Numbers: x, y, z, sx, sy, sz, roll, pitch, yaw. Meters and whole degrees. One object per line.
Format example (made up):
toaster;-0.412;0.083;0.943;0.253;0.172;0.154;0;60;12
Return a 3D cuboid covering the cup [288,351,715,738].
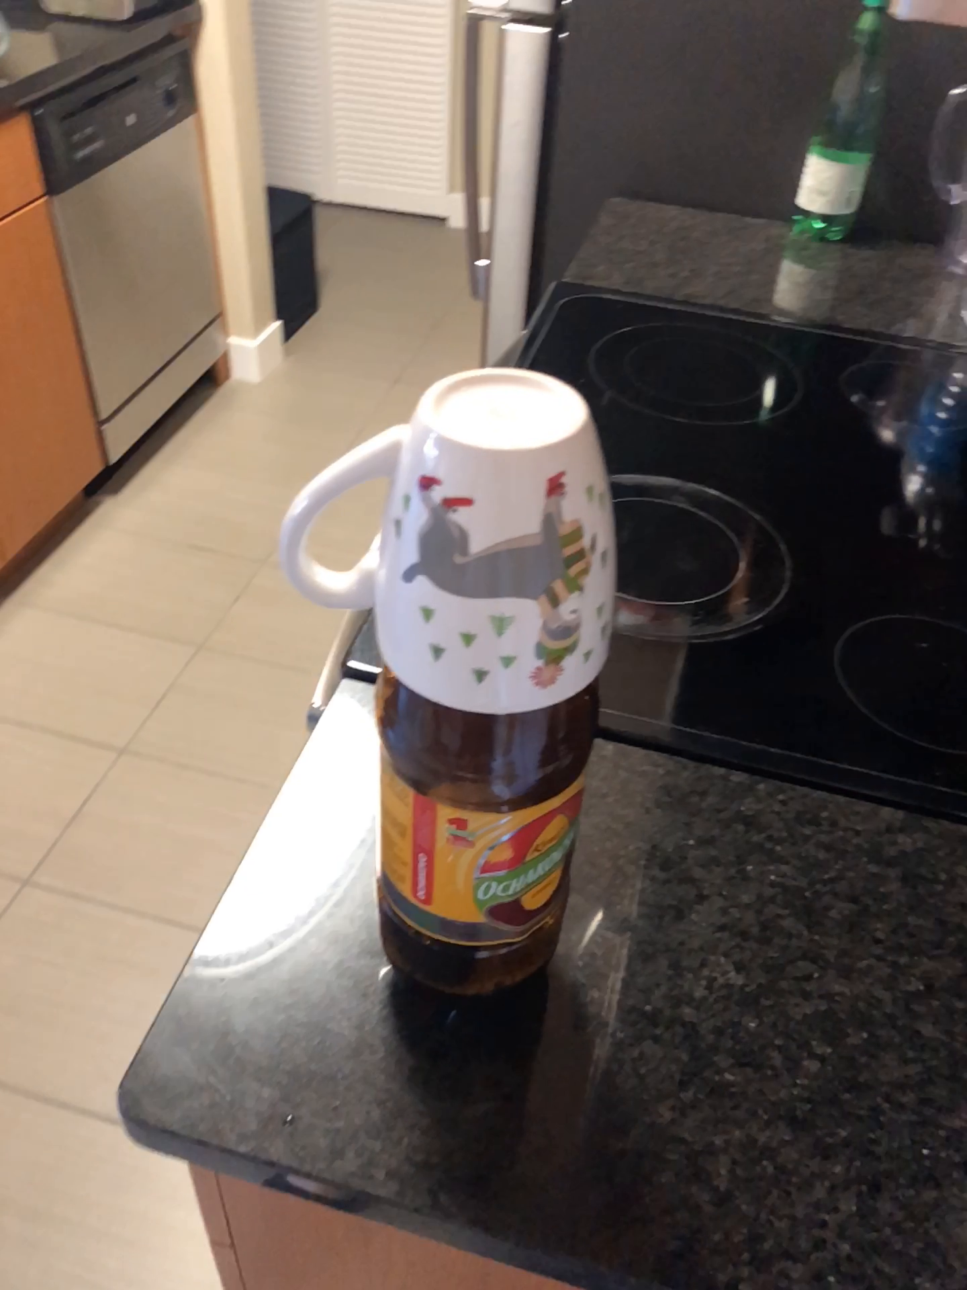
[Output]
cup;-0.002;-0.041;0.420;0.140;0.109;0.100;-1;42;-8
